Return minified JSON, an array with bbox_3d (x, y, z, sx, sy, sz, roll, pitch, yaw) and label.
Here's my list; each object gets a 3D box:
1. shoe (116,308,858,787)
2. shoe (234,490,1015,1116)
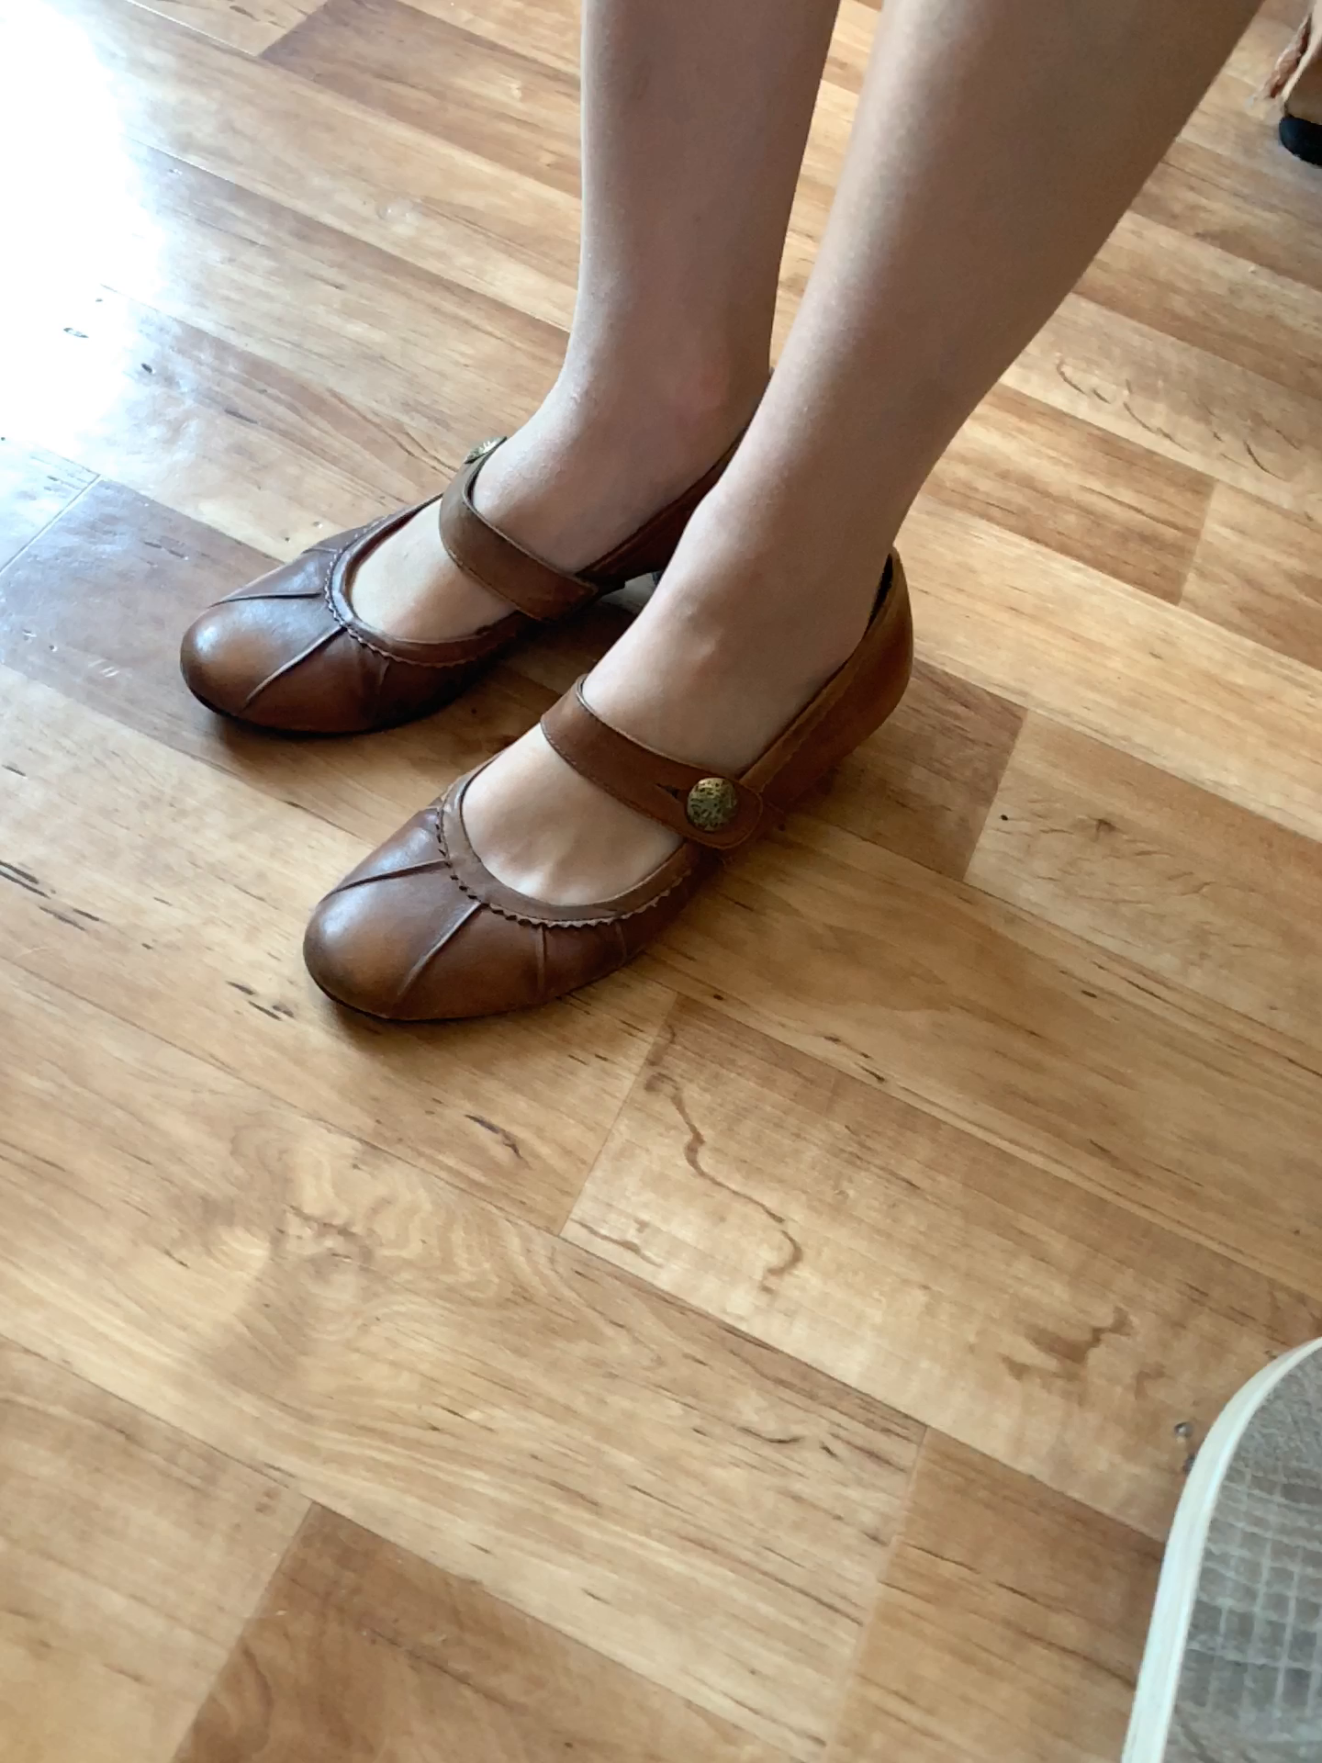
[{"bbox_3d":[-0.062,-0.134,0.524,0.250,0.090,0.090,-20,65,-21],"label":"shoe"},{"bbox_3d":[-0.008,-0.034,0.475,0.250,0.090,0.090,-29,69,-25],"label":"shoe"}]
